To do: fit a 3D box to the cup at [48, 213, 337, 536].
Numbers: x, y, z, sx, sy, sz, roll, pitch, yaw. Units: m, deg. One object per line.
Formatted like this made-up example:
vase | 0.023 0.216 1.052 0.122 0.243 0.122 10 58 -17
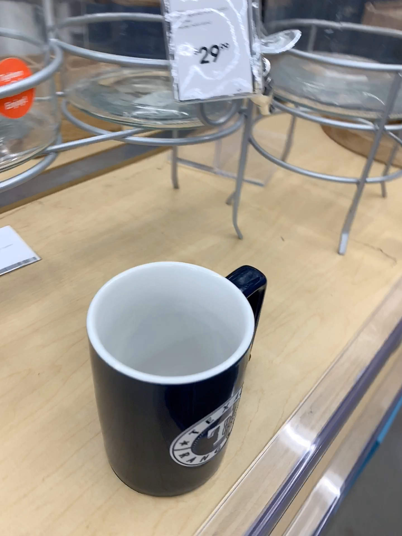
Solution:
cup | -0.004 0.059 0.260 0.097 0.121 0.123 31 46 28
